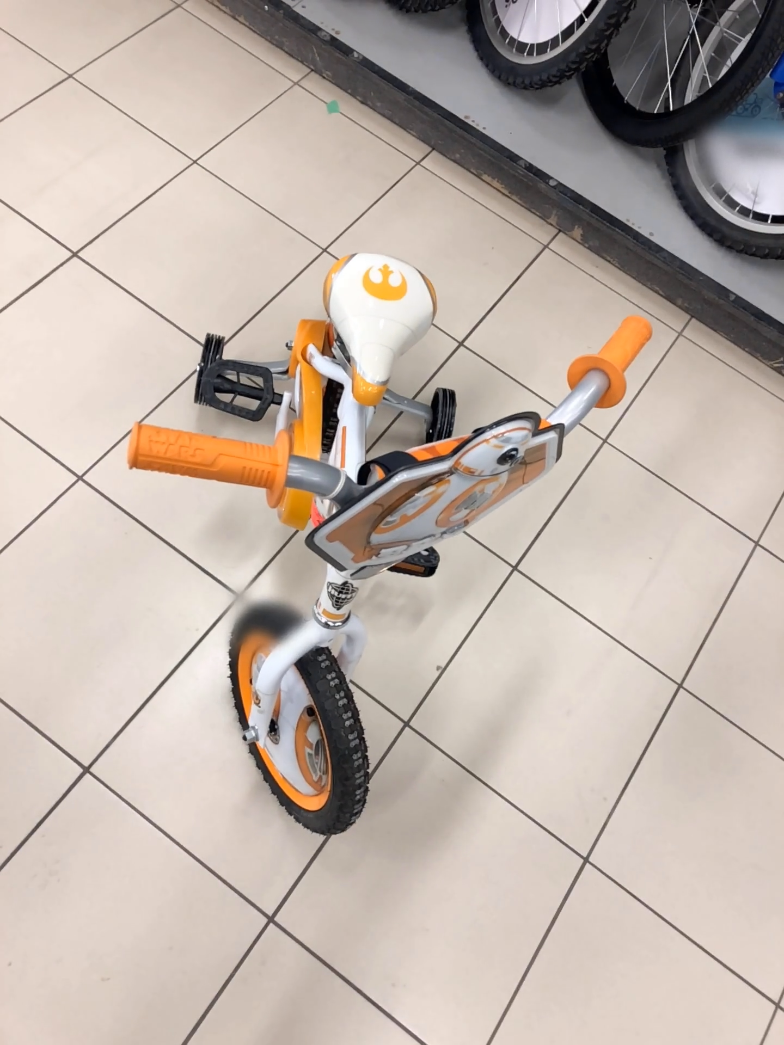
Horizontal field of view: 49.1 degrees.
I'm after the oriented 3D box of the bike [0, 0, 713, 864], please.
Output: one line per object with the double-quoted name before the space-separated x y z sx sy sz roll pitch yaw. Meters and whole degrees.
"bike" -0.064 -0.097 0.985 0.435 0.715 0.817 3 66 -9
